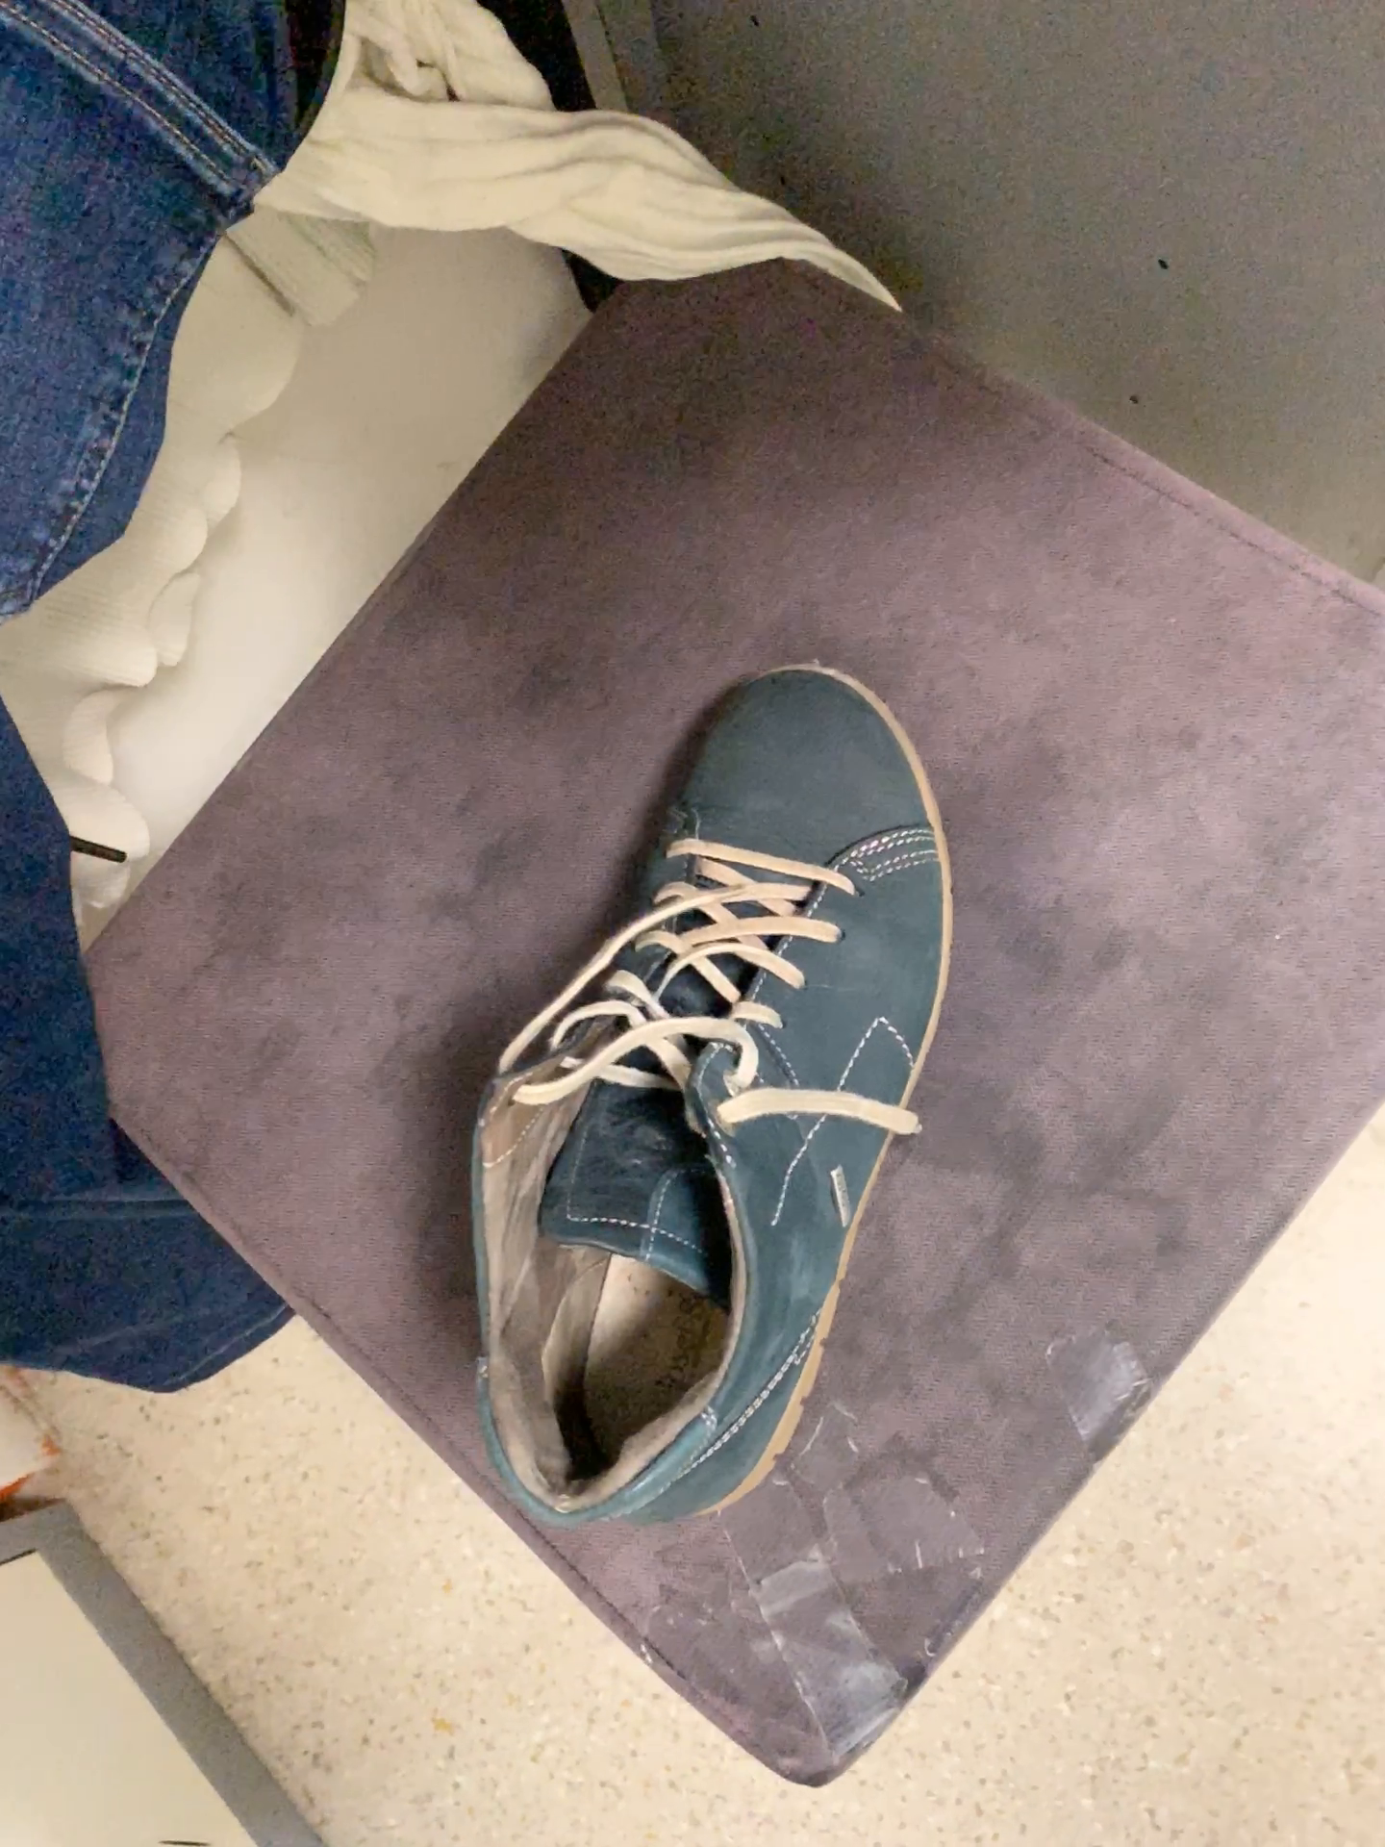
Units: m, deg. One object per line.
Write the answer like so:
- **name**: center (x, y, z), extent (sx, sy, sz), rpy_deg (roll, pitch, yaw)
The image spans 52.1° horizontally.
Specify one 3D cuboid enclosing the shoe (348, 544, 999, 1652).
- **shoe**: center (0.011, 0.043, 0.406), extent (0.103, 0.143, 0.245), rpy_deg (11, 82, 13)
